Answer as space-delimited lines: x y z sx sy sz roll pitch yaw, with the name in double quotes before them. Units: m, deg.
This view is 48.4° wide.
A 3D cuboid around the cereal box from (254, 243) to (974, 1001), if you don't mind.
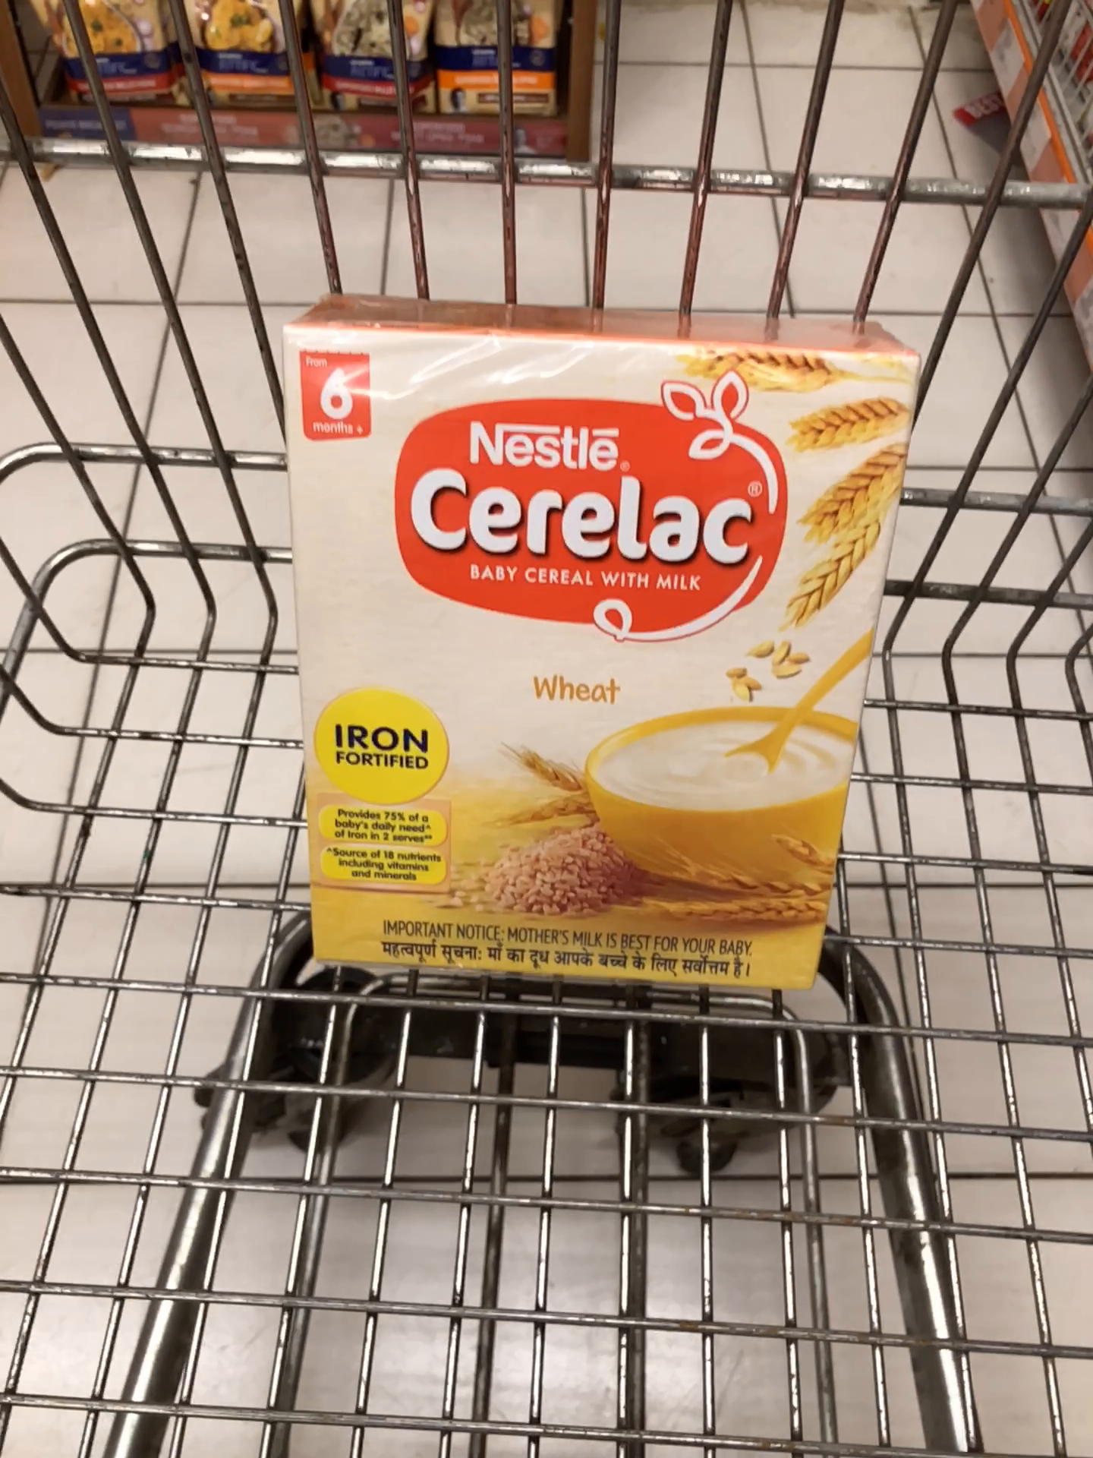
"cereal box" 0.010 -0.023 0.313 0.150 0.179 0.050 3 24 0
